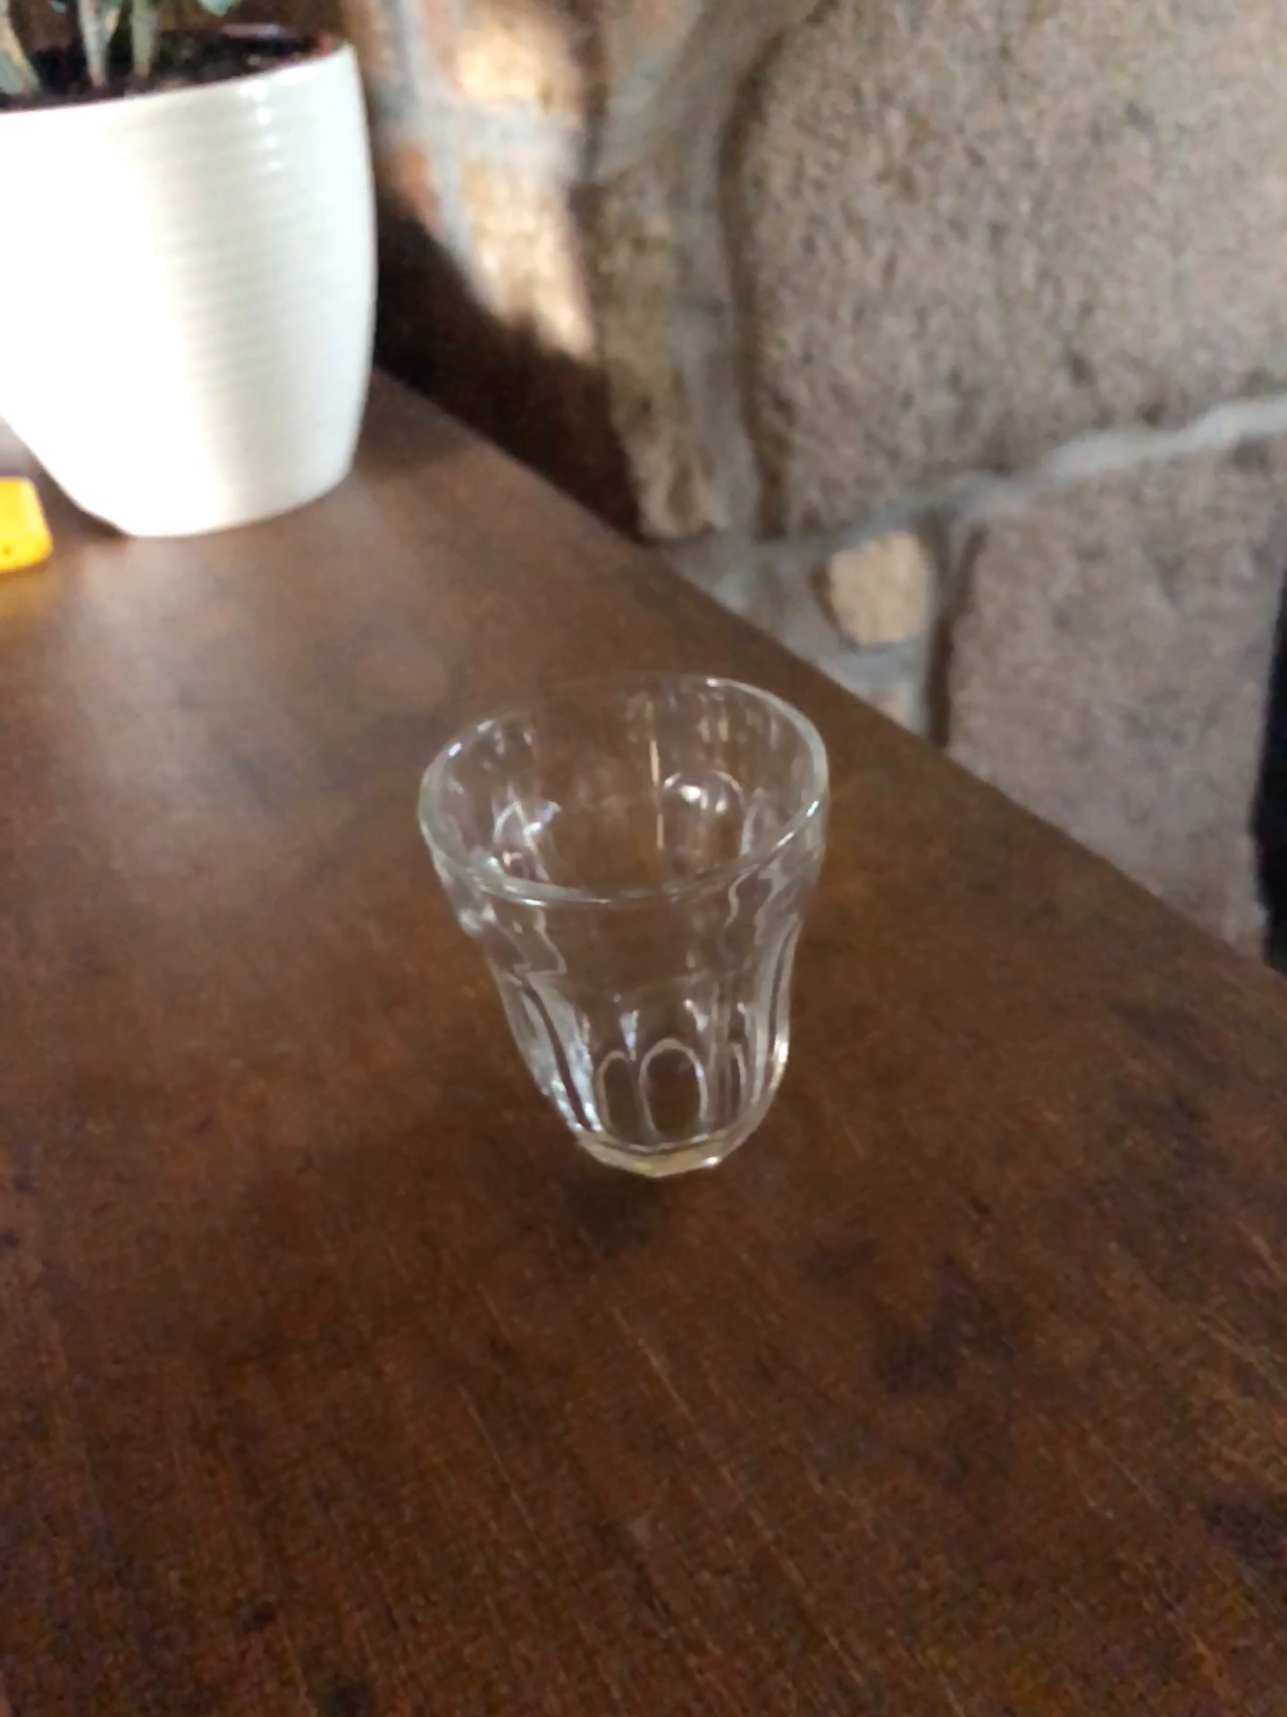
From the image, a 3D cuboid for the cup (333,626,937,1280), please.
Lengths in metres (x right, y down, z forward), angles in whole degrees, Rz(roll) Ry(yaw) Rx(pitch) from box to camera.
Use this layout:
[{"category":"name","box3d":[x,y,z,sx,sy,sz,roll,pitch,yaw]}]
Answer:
[{"category":"cup","box3d":[0.004,0.013,0.269,0.080,0.080,0.070,13,39,26]}]
